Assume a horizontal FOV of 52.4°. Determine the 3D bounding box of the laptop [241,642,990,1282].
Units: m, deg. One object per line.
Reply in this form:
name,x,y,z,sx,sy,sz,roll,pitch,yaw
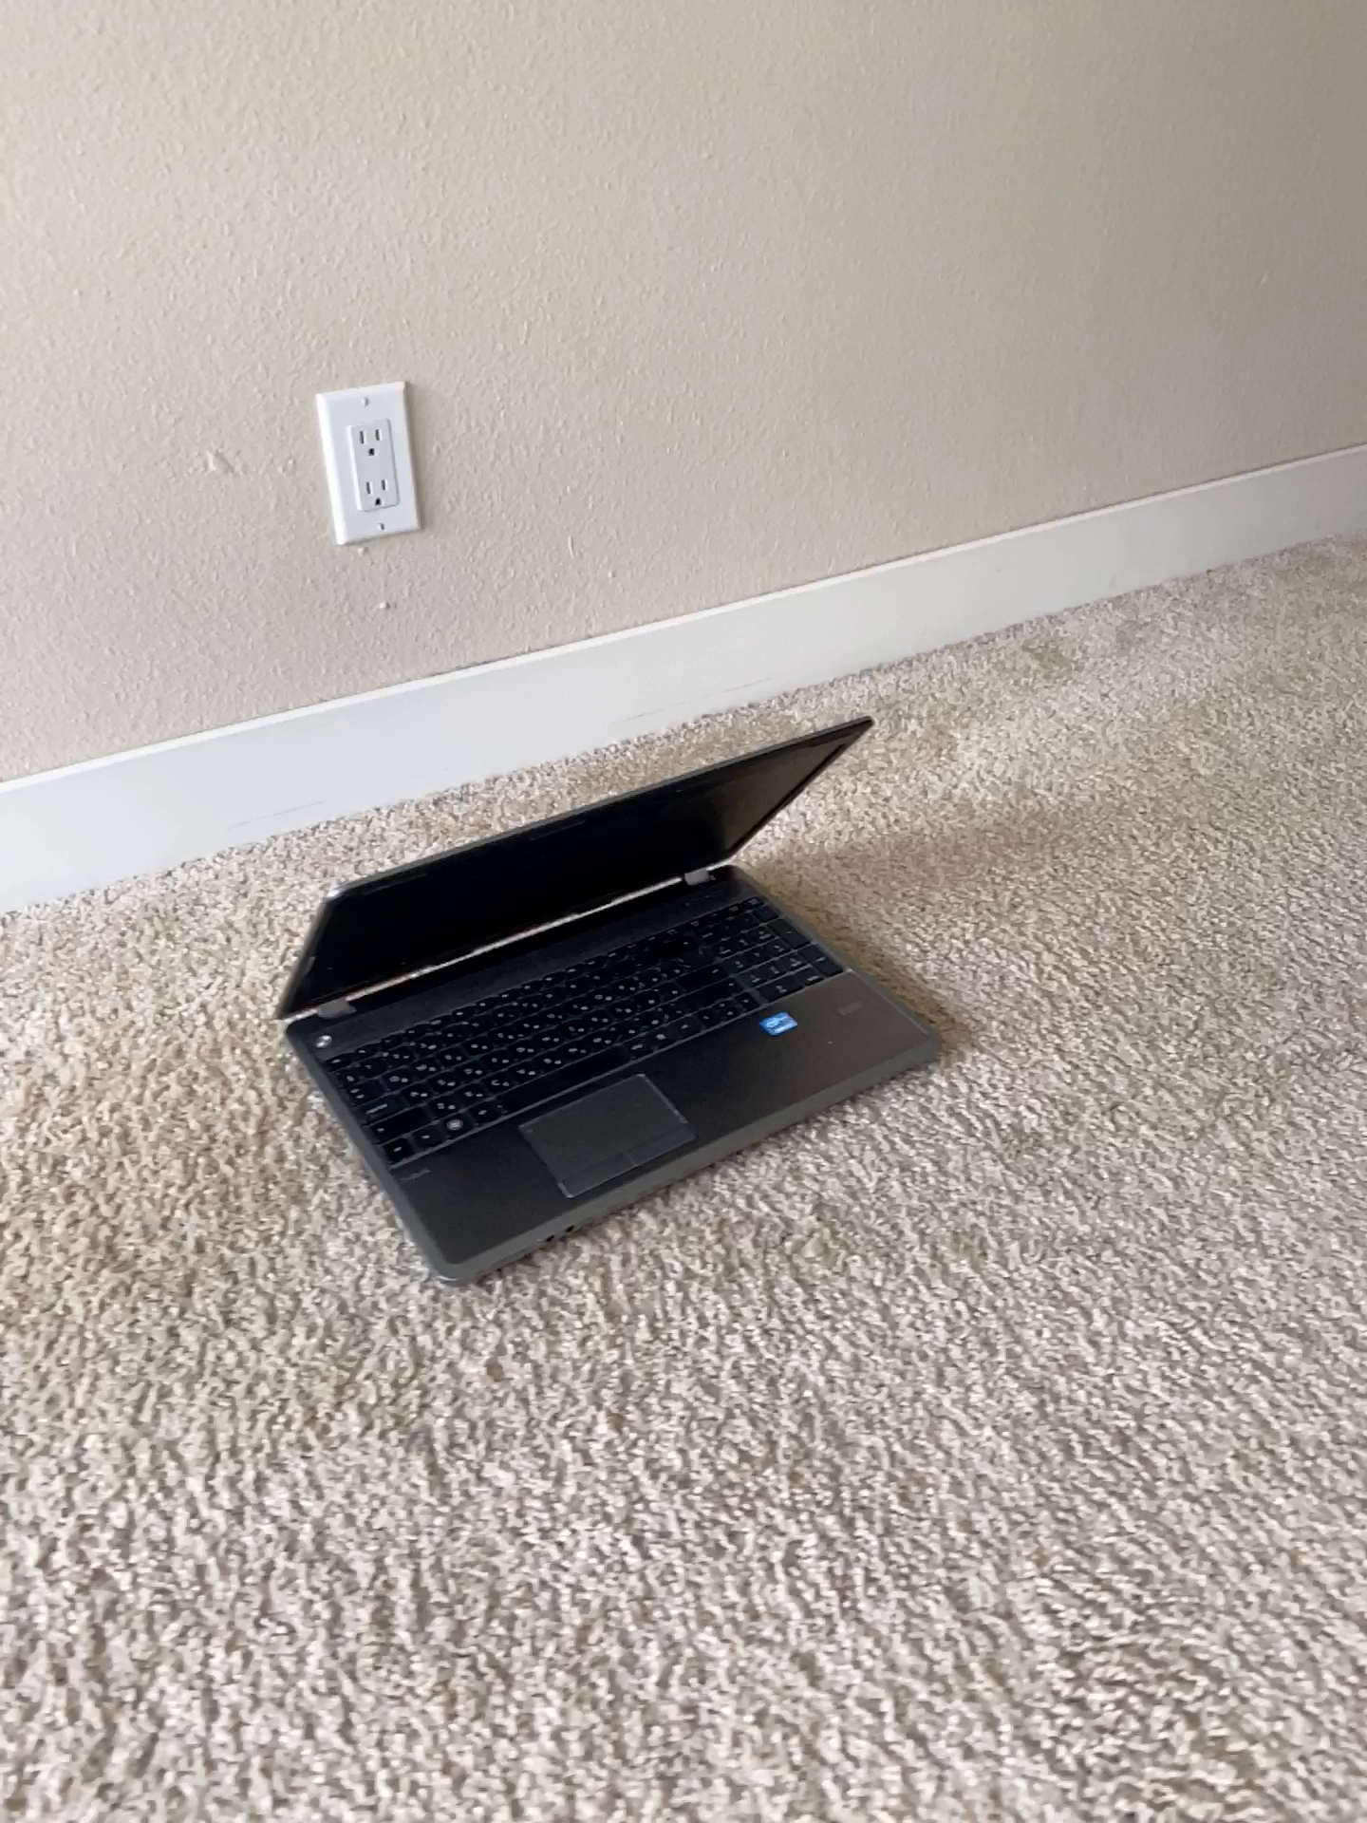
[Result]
laptop,-0.040,0.005,0.882,0.370,0.189,0.250,-20,41,-28
